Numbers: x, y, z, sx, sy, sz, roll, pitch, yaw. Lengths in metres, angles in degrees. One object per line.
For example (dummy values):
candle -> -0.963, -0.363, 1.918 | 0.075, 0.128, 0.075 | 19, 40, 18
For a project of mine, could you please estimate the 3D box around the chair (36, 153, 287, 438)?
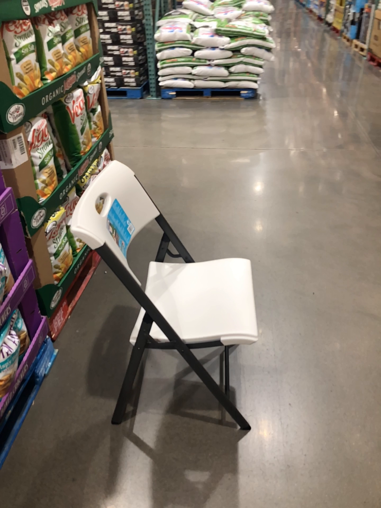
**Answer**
chair -> -0.048, 0.134, 1.421 | 0.594, 0.790, 0.548 | 1, 34, 4
